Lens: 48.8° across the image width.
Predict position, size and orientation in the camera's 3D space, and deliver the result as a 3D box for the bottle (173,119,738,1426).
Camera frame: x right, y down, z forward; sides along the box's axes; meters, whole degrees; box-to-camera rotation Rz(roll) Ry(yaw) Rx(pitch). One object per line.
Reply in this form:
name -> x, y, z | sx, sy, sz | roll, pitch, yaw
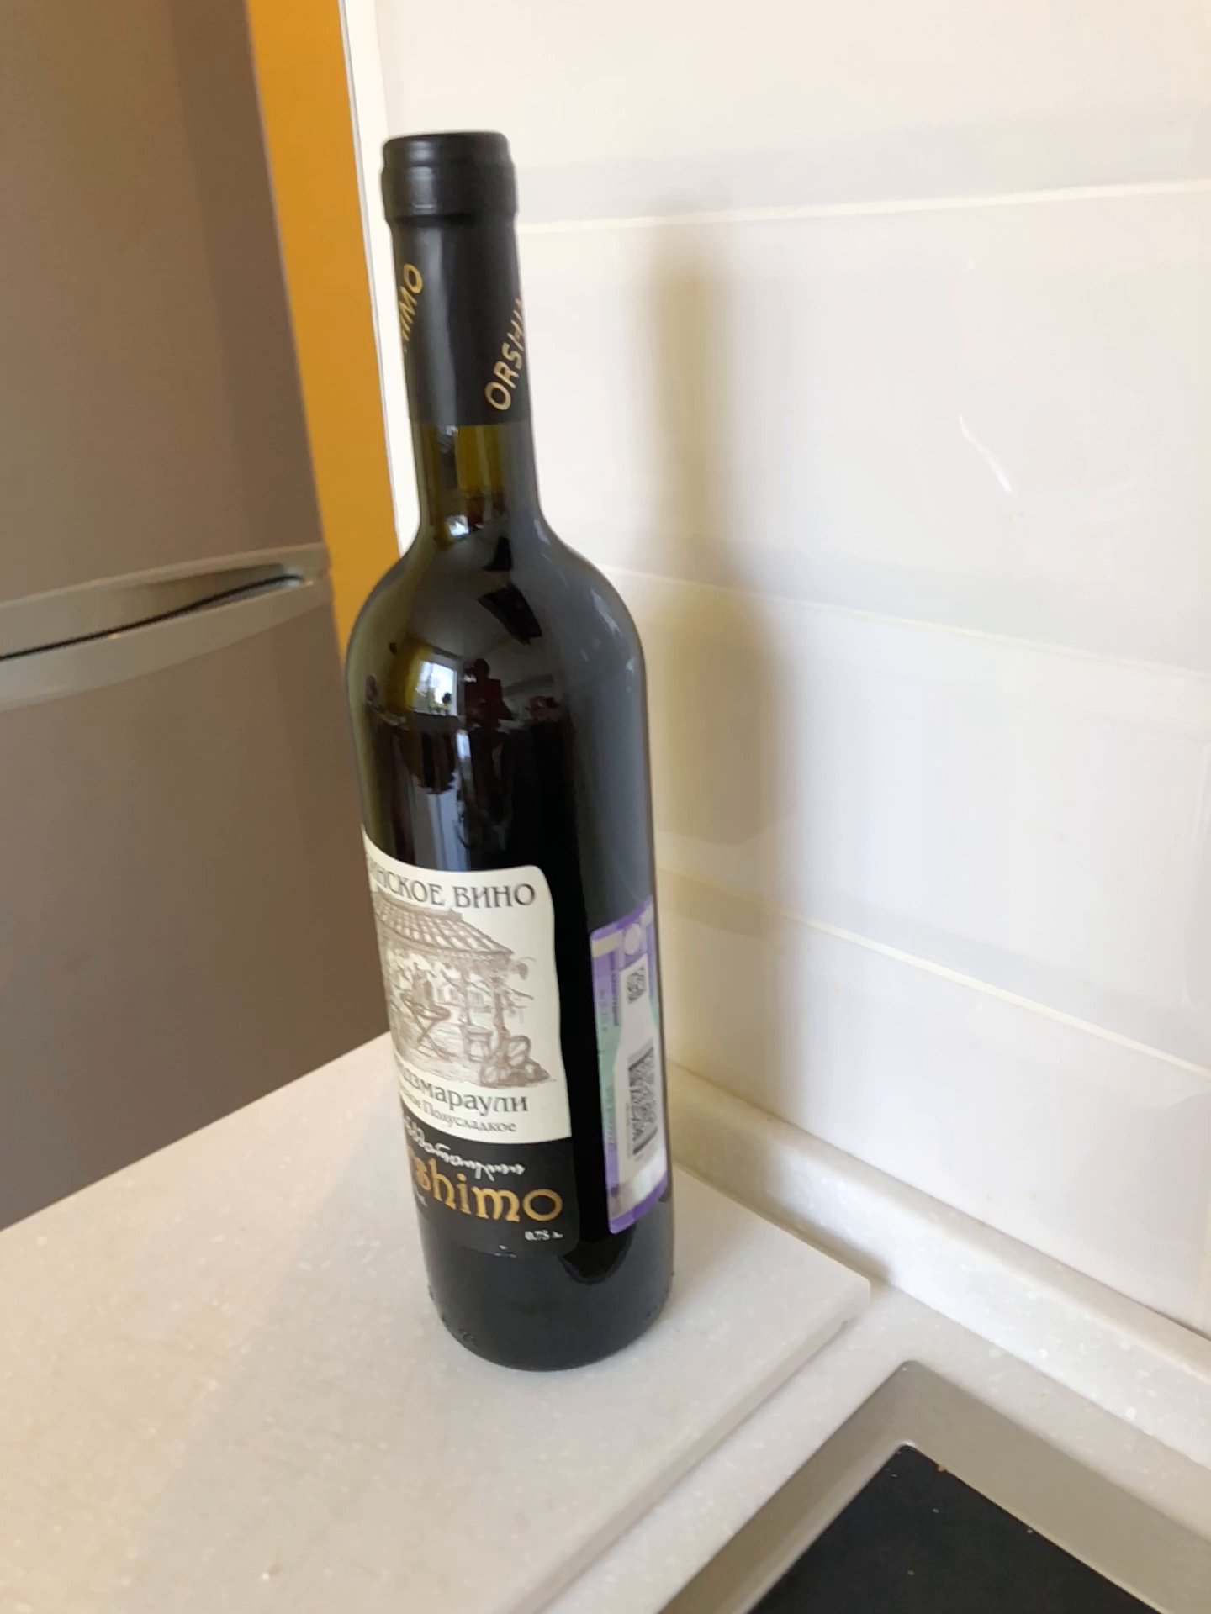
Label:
bottle -> -0.025, -0.001, 0.335 | 0.080, 0.298, 0.080 | -3, 23, 1
